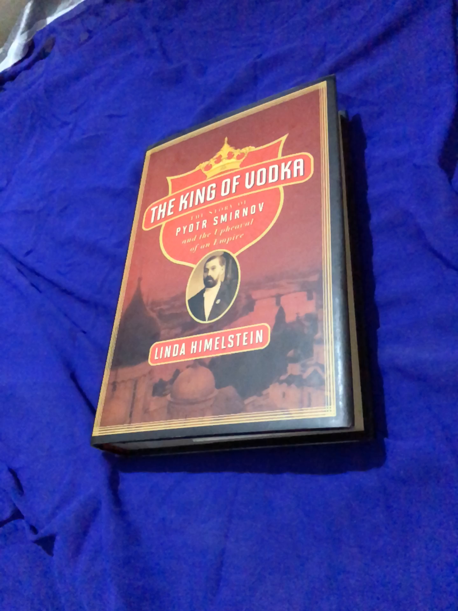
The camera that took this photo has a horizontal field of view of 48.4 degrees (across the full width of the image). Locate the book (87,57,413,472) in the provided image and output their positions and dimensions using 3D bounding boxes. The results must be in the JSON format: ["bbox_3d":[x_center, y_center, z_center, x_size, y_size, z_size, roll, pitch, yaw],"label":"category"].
[{"bbox_3d":[0.013,-0.029,0.334,0.170,0.050,0.250,-12,56,27],"label":"book"}]
